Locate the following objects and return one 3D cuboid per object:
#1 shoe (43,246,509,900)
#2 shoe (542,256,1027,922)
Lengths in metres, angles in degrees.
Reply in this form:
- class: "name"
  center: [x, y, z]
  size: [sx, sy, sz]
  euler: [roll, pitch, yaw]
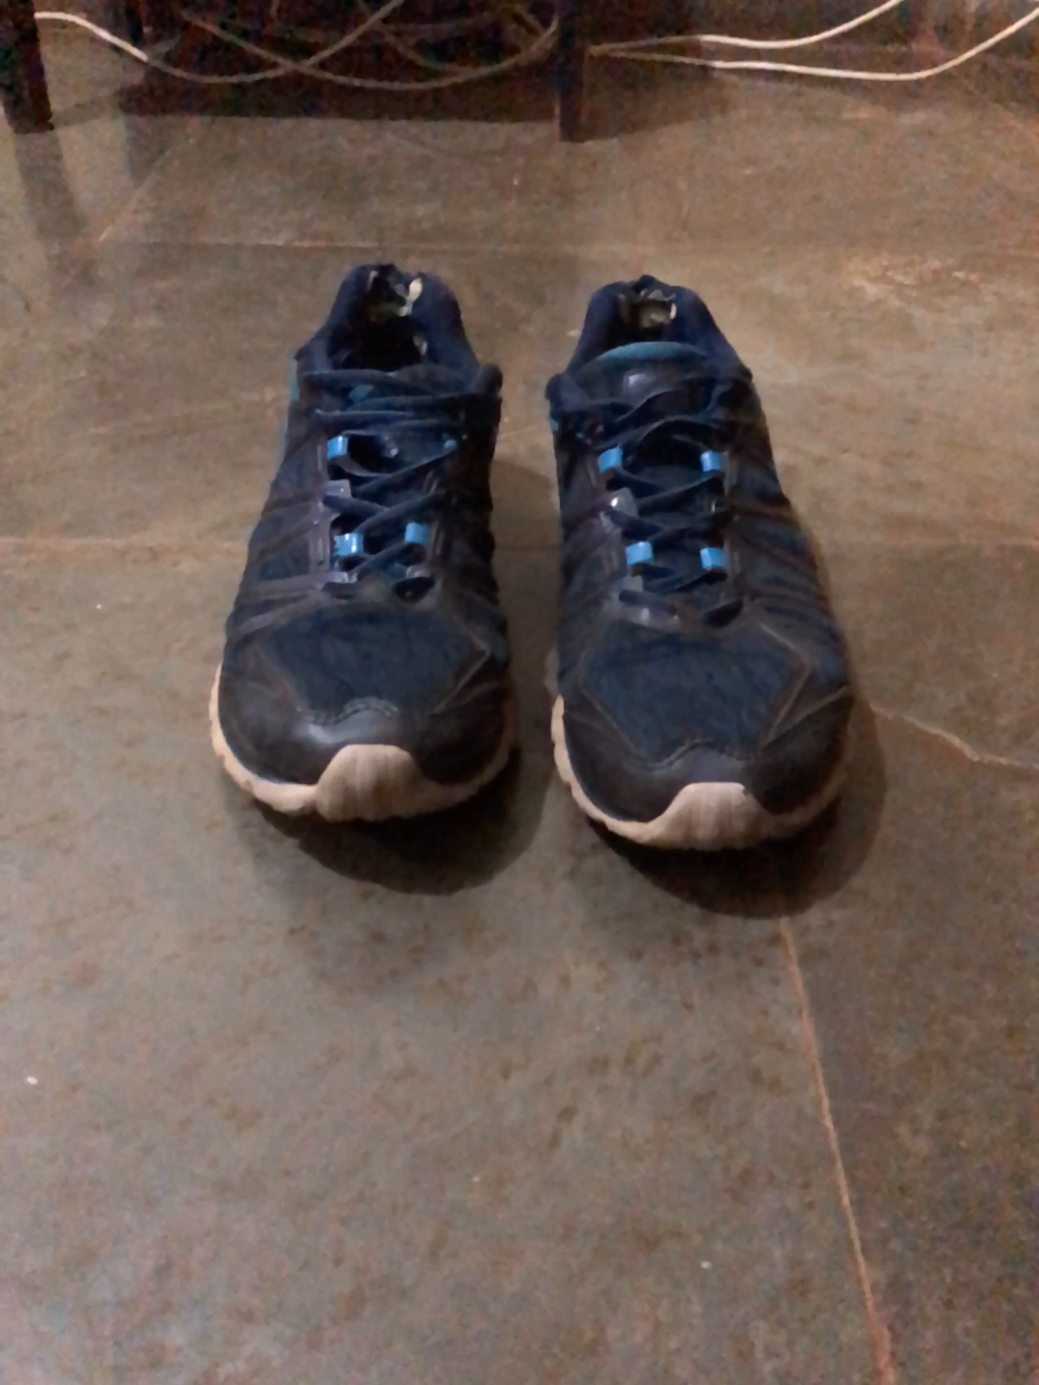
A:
- class: "shoe"
  center: [-0.067, -0.067, 0.439]
  size: [0.120, 0.109, 0.282]
  euler: [0, 40, -2]
- class: "shoe"
  center: [0.071, -0.061, 0.438]
  size: [0.120, 0.109, 0.282]
  euler: [1, 40, 0]
